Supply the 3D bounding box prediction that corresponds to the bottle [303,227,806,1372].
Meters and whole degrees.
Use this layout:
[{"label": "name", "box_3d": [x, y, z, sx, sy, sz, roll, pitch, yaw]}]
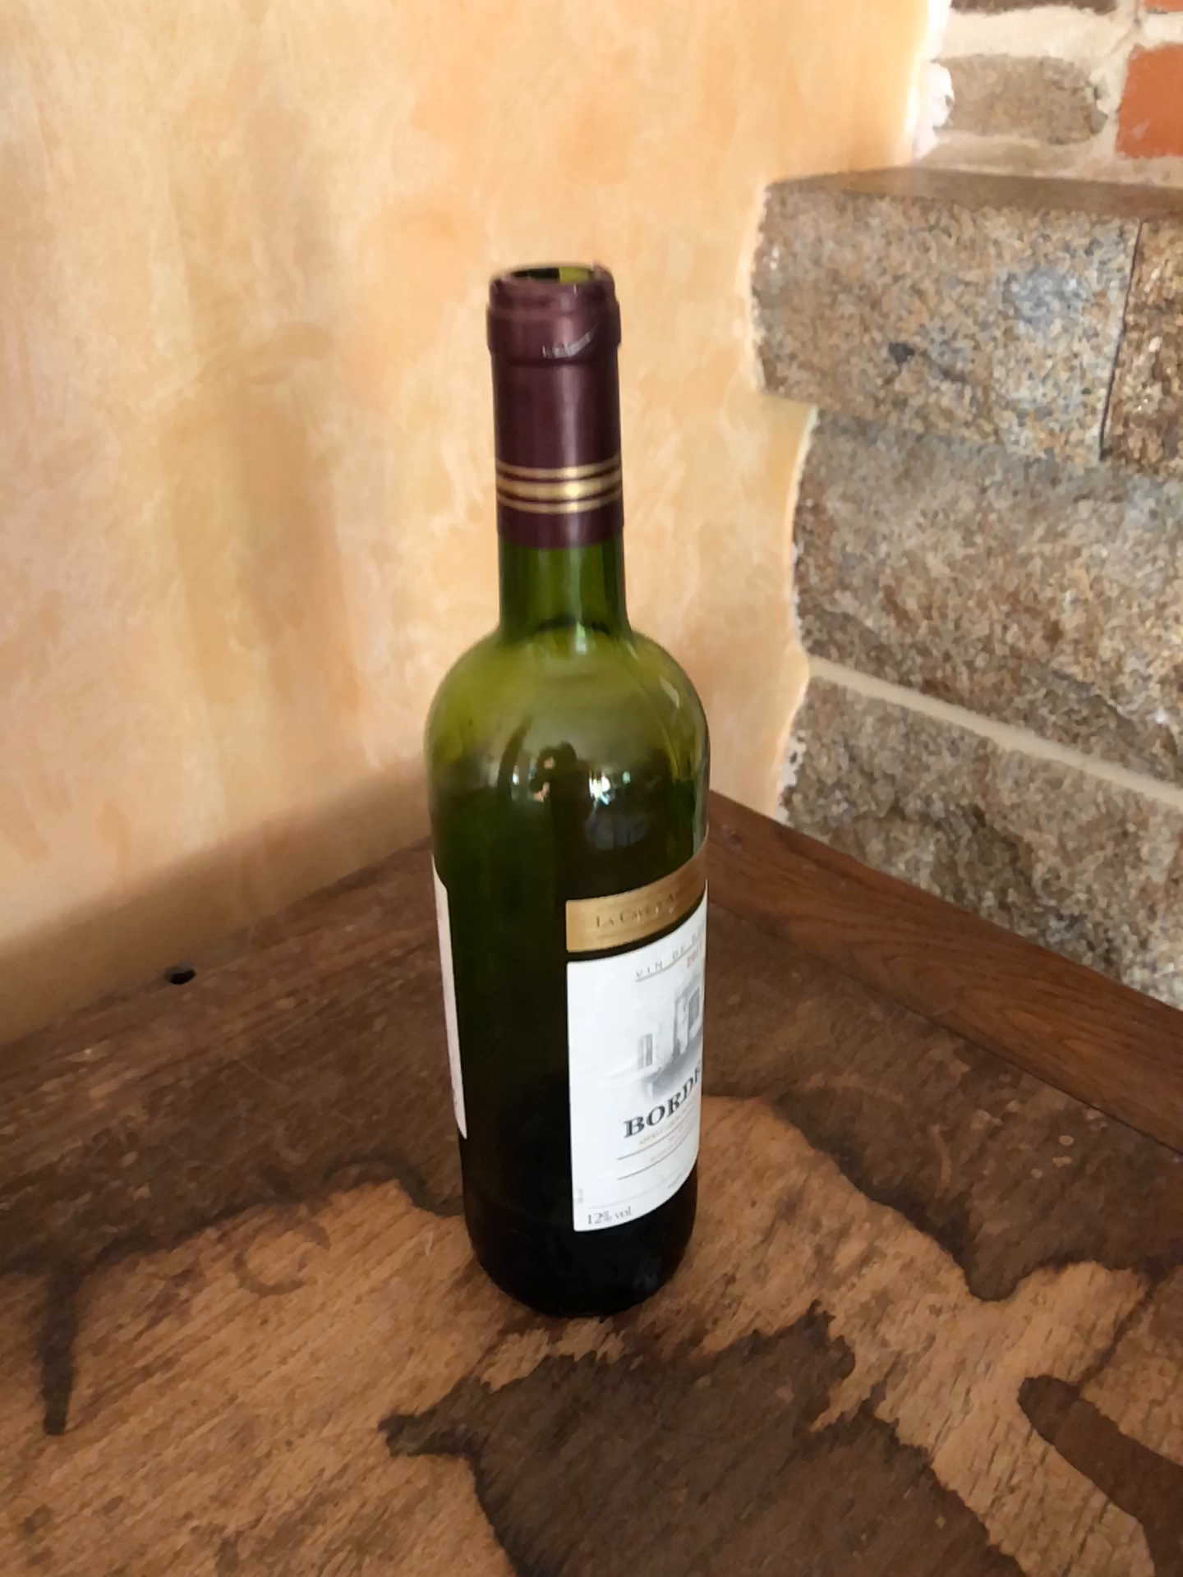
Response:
[{"label": "bottle", "box_3d": [-0.003, 0.013, 0.350, 0.080, 0.288, 0.091, 10, 31, 17]}]
